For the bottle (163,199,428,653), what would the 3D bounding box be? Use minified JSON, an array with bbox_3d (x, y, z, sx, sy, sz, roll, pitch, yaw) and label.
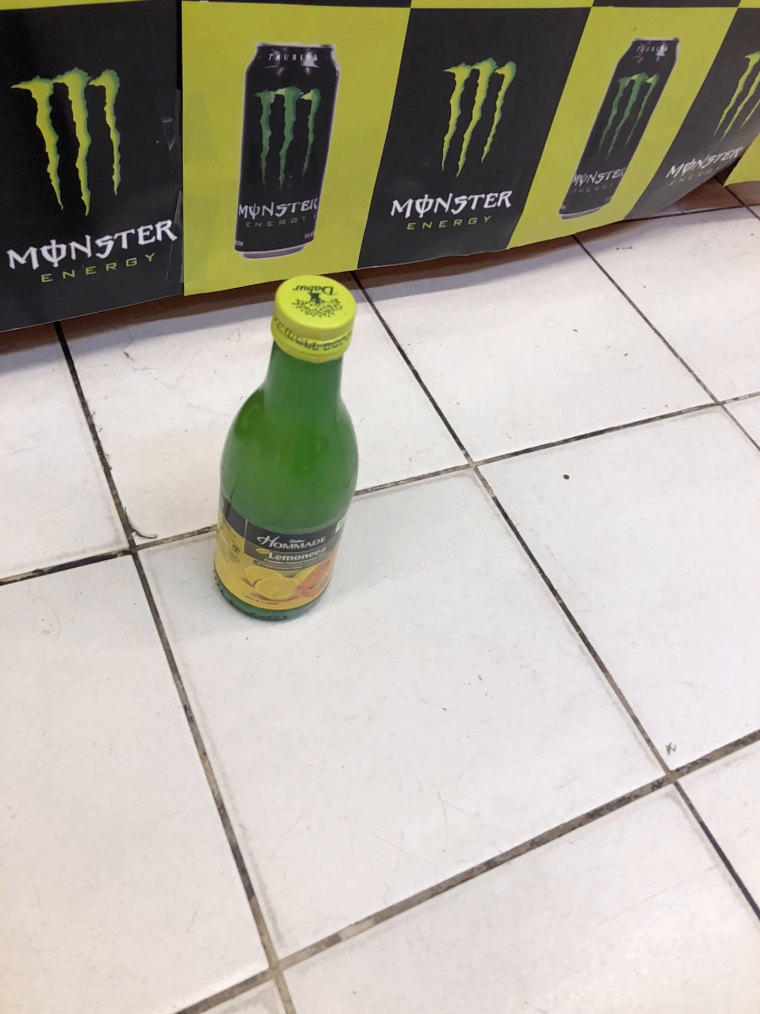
[{"bbox_3d":[-0.046,-0.021,0.334,0.070,0.179,0.070,8,50,-9],"label":"bottle"}]
